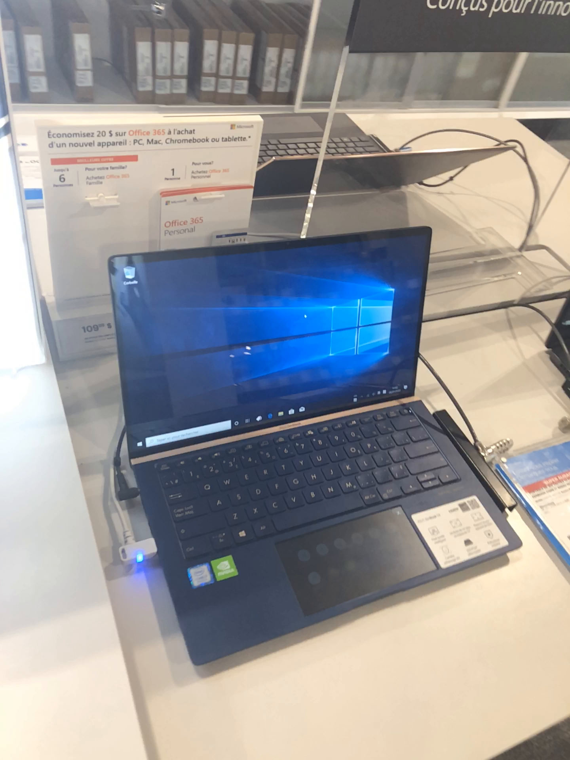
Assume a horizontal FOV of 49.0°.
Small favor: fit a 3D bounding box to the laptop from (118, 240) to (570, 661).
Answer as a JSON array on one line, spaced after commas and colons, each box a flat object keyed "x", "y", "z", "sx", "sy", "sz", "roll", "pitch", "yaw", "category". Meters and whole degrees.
[{"x": 0.044, "y": 0.033, "z": 0.535, "sx": 0.309, "sy": 0.179, "sz": 0.253, "roll": -11, "pitch": 47, "yaw": -23, "category": "laptop"}]
